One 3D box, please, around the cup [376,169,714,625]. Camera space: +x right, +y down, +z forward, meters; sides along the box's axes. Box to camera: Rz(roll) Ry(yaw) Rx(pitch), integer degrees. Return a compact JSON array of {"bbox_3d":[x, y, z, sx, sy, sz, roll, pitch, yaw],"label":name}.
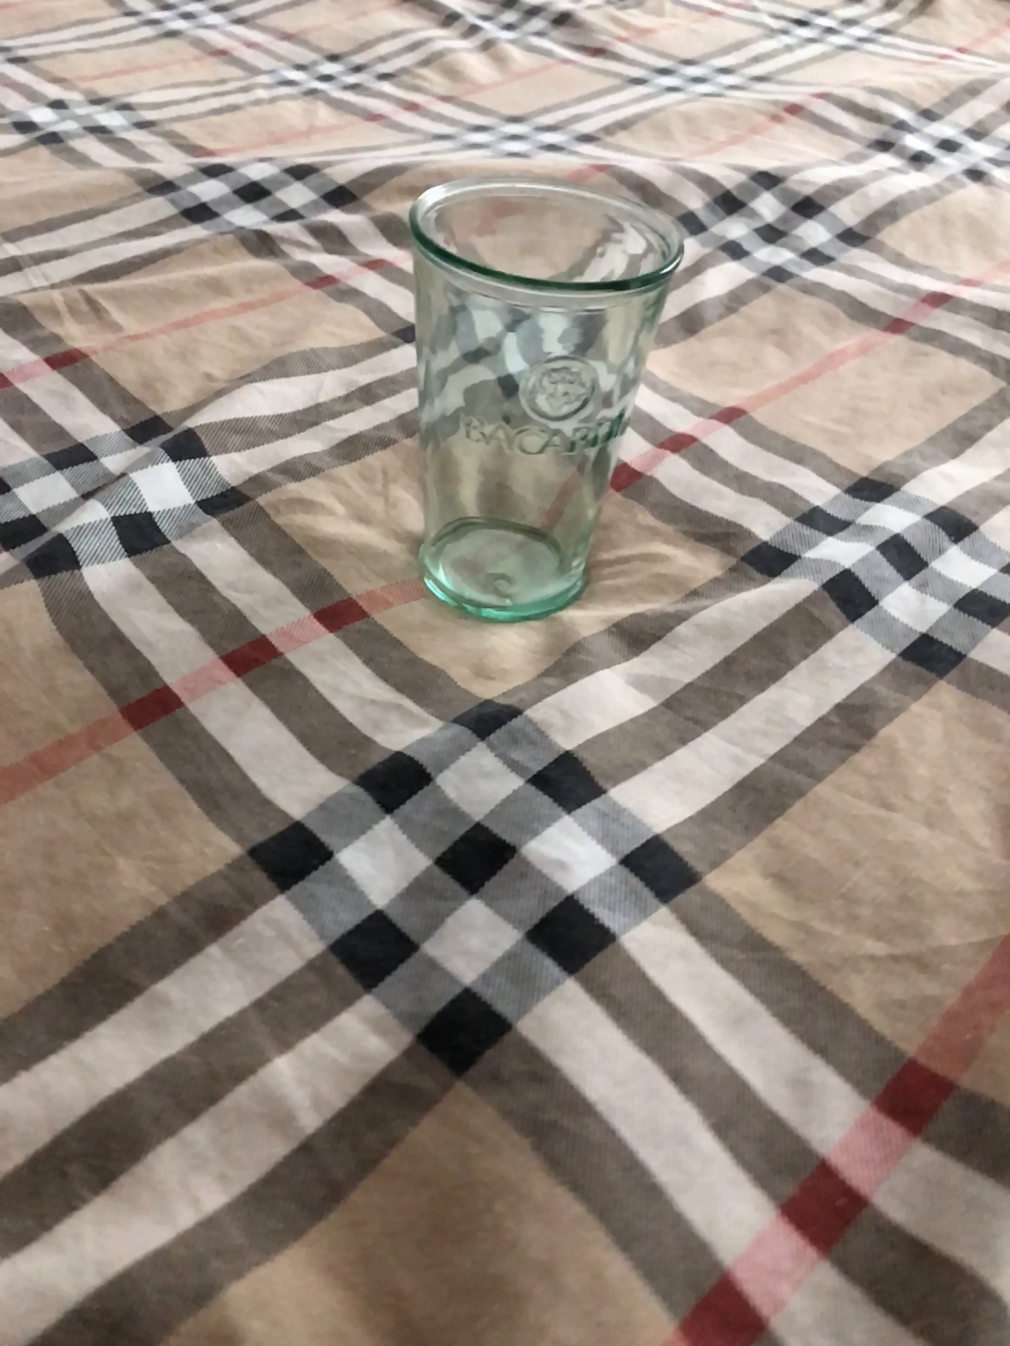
[{"bbox_3d":[0.004,-0.086,0.348,0.085,0.112,0.082,2,40,-2],"label":"cup"}]
